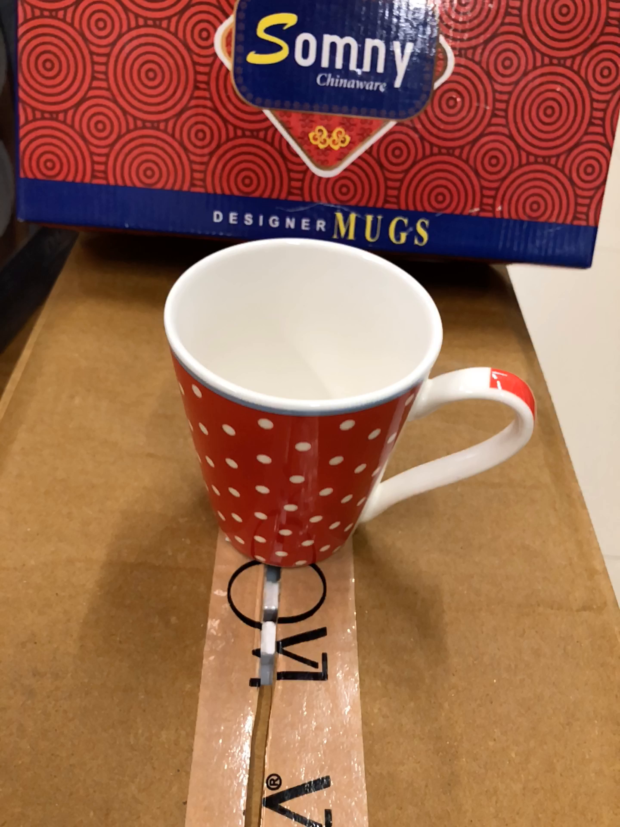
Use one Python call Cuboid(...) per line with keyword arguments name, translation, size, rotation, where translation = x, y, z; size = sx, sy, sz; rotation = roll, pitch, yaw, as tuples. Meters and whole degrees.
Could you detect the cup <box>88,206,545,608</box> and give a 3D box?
Cuboid(name="cup", translation=(0.003, -0.002, 0.240), size=(0.120, 0.089, 0.081), rotation=(10, 44, 3))
